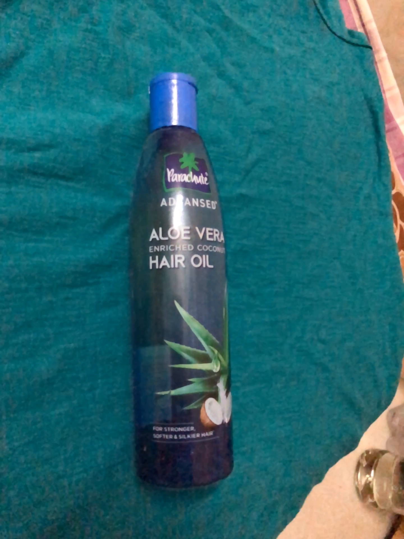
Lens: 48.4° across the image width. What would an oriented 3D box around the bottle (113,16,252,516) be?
[{"bbox_3d":[-0.013,-0.006,0.216,0.050,0.040,0.210,1,82,-24],"label":"bottle"}]
